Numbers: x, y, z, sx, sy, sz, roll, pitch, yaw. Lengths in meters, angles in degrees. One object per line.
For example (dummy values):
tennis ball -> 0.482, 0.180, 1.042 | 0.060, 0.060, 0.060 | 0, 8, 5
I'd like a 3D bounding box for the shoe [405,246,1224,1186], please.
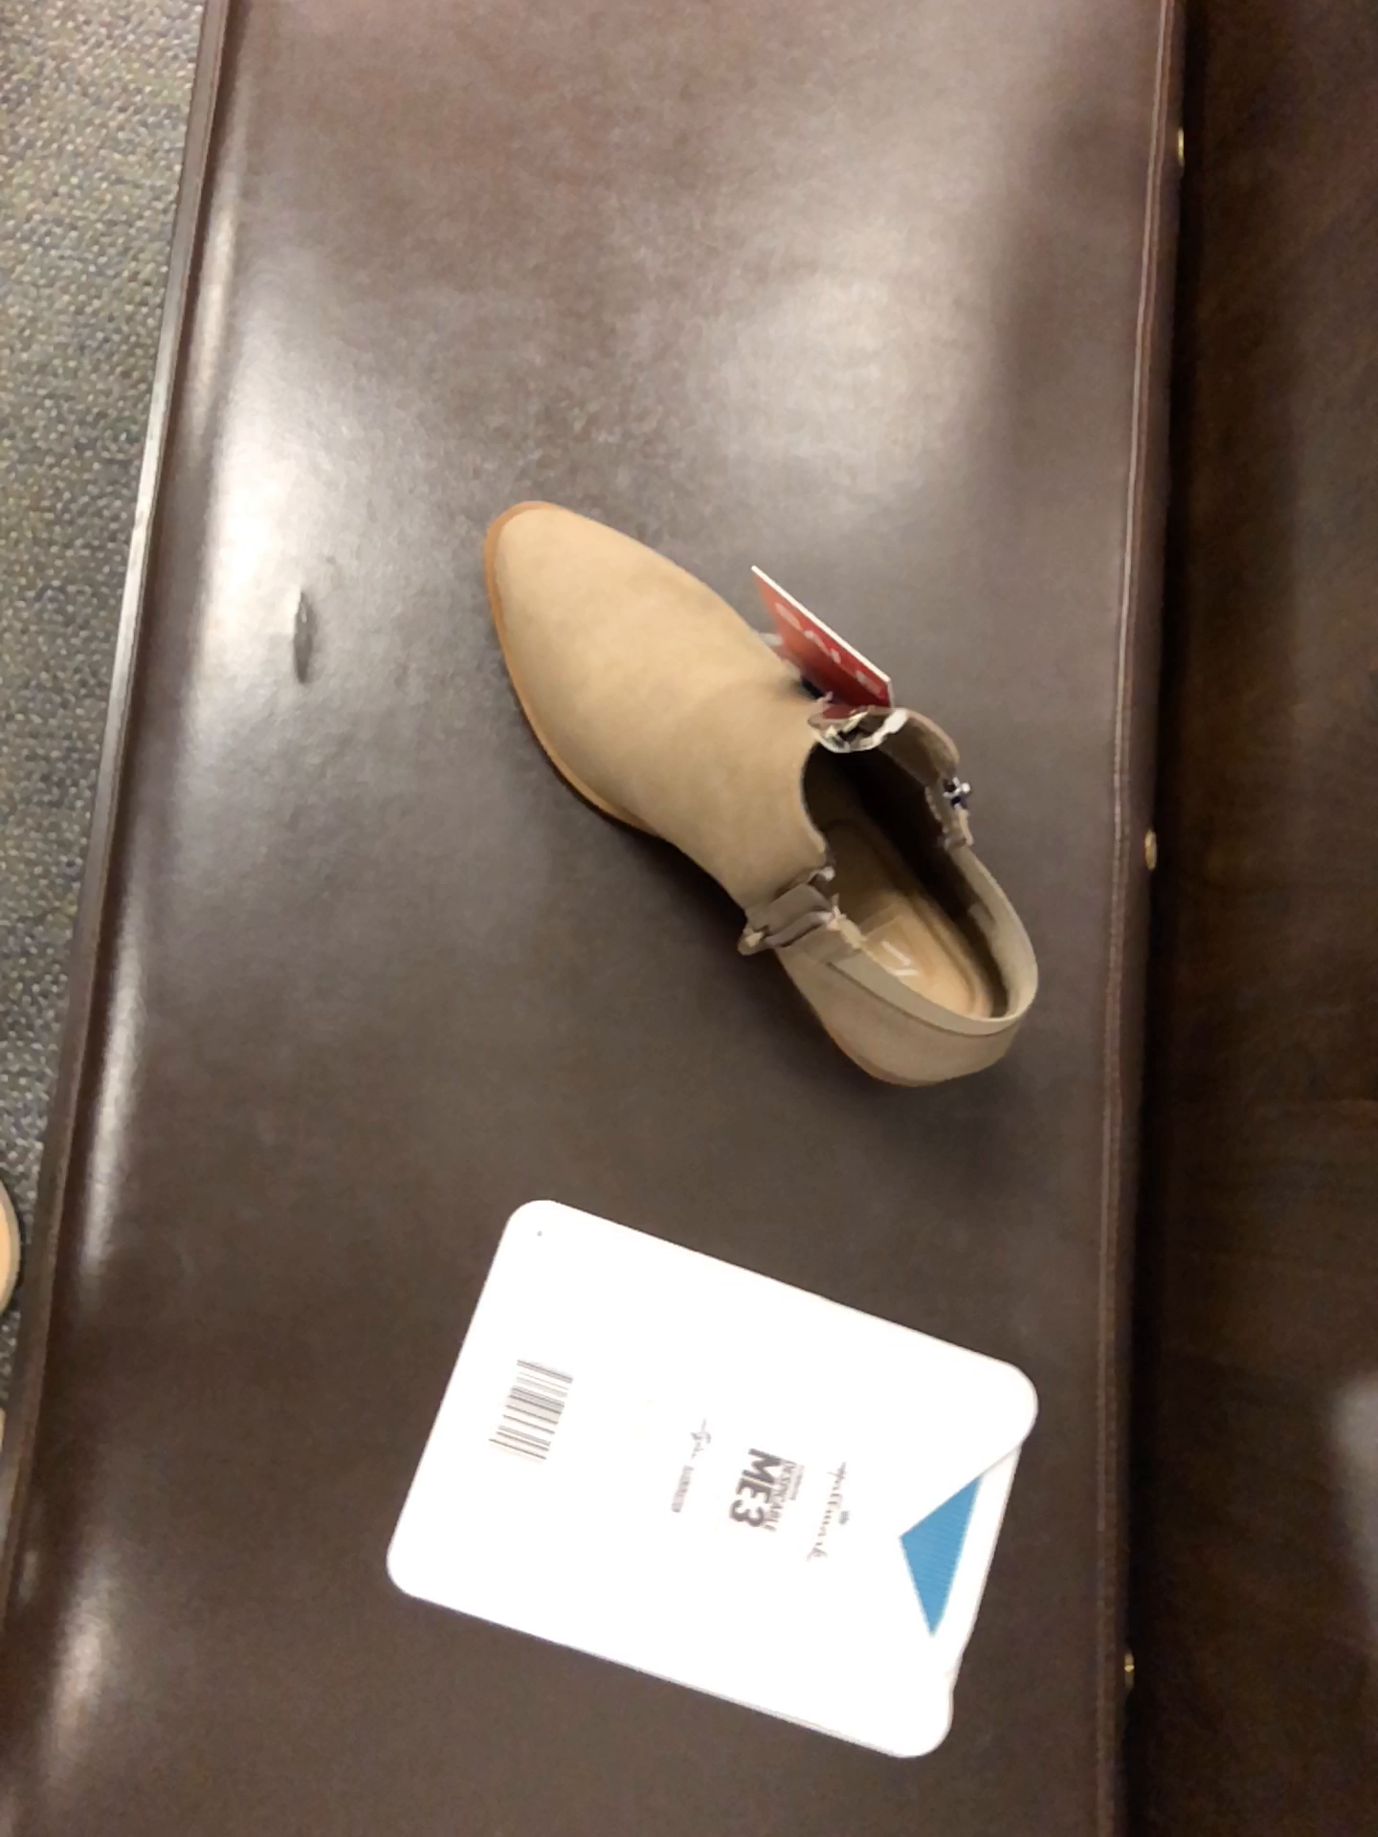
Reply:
shoe -> 0.026, -0.051, 0.491 | 0.097, 0.133, 0.260 | -37, 90, -13
